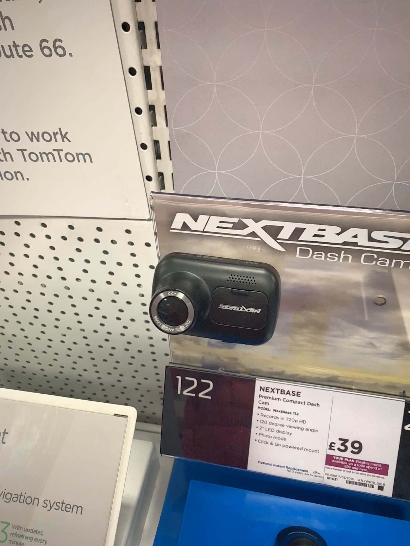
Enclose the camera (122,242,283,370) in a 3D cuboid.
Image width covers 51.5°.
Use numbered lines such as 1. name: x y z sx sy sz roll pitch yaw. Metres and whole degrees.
1. camera: 0.001 0.015 0.253 0.080 0.050 0.060 8 14 13
